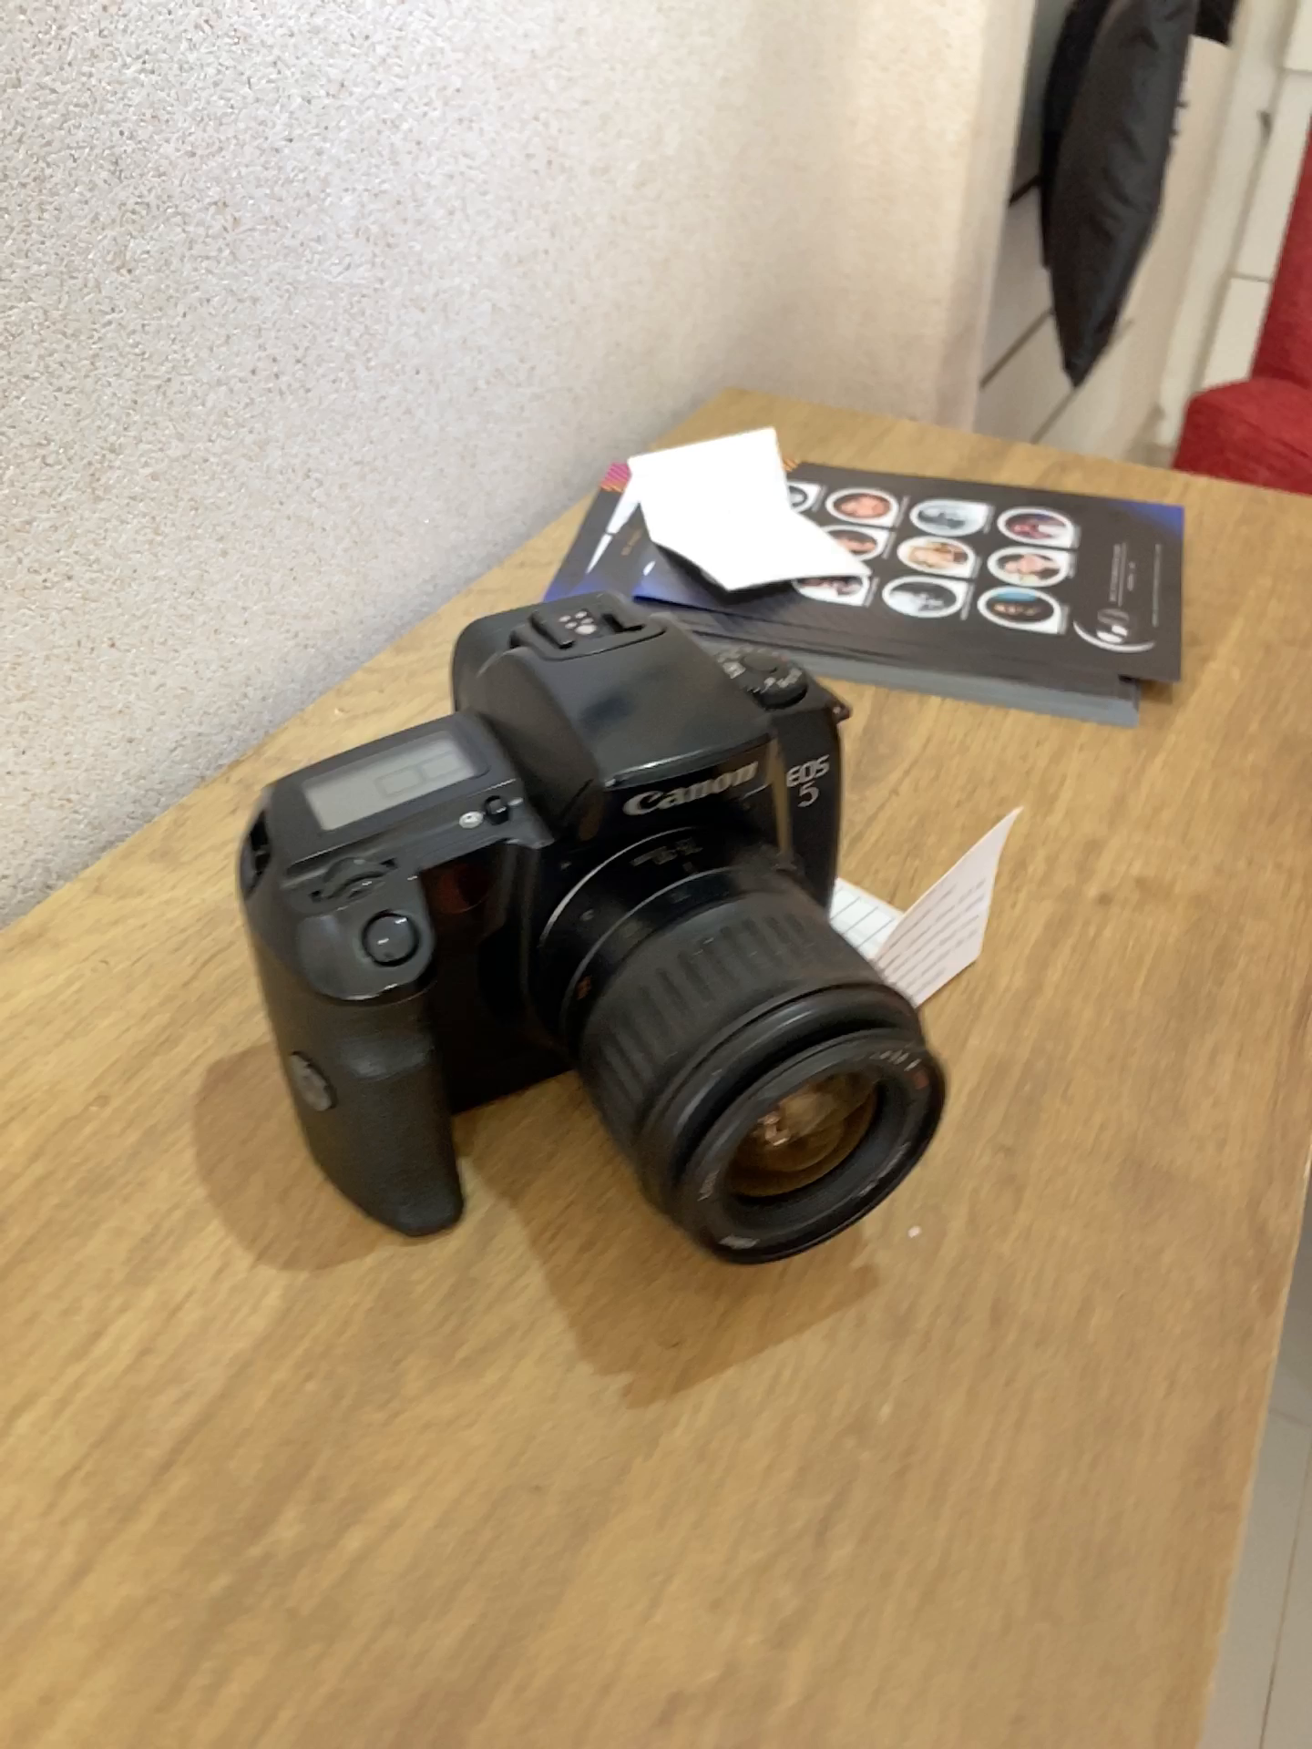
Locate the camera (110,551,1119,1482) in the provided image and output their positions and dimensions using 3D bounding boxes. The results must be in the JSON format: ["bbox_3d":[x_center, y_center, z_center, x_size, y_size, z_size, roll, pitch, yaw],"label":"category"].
[{"bbox_3d":[-0.020,0.012,0.332,0.160,0.079,0.181,-21,44,-23],"label":"camera"}]
